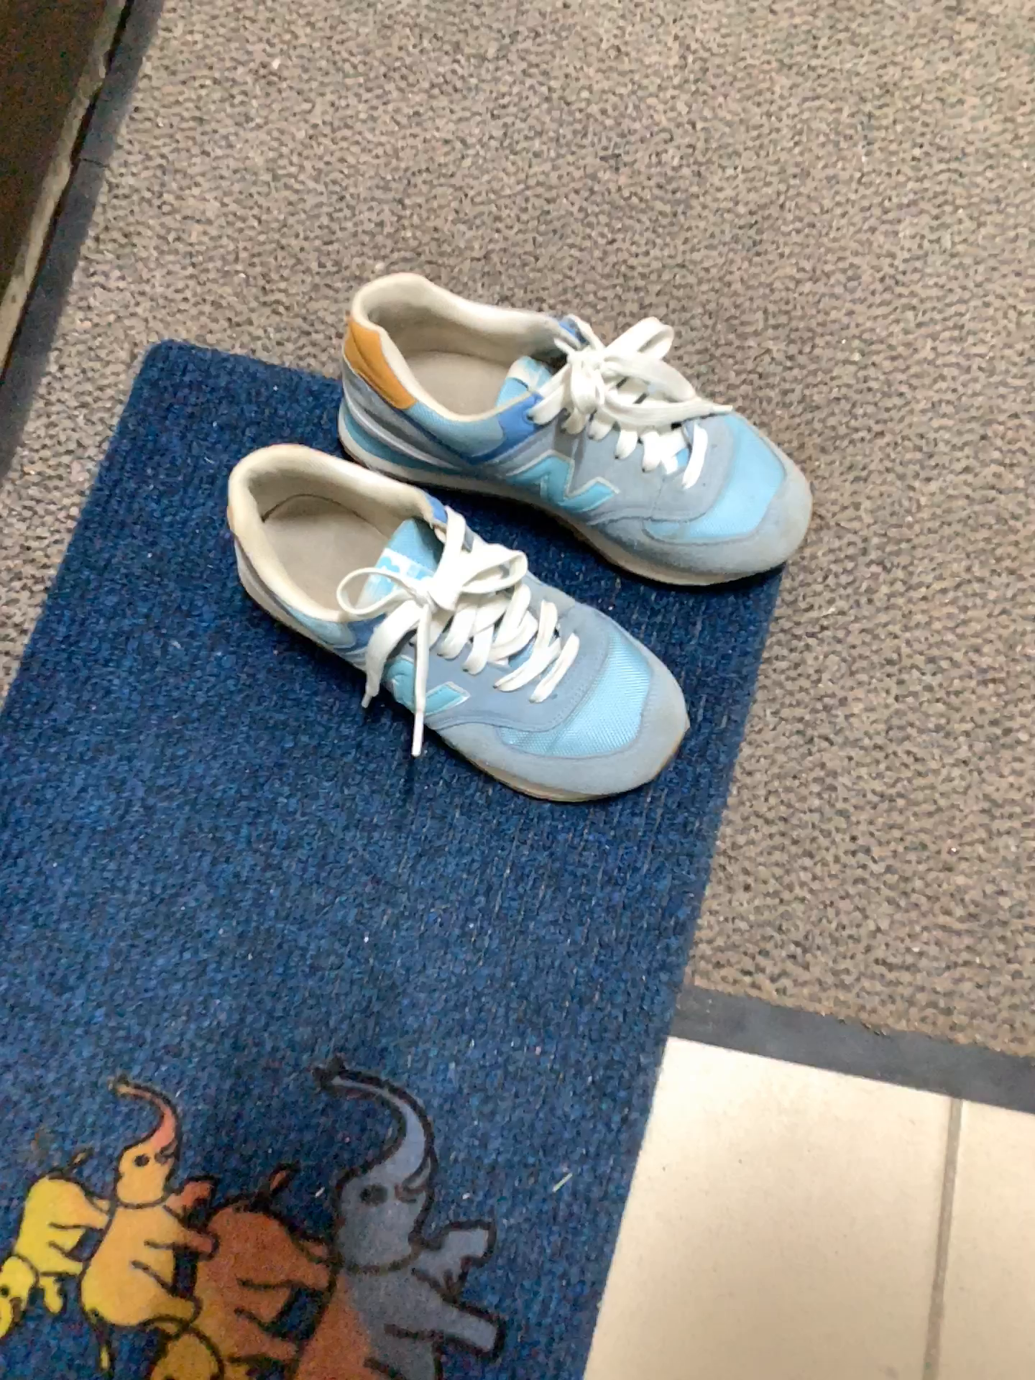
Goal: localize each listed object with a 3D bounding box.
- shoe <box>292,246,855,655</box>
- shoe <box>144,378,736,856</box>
[{"bbox_3d":[0.027,-0.119,0.555,0.250,0.120,0.090,23,81,8],"label":"shoe"},{"bbox_3d":[-0.037,-0.029,0.532,0.260,0.140,0.080,30,75,10],"label":"shoe"}]
